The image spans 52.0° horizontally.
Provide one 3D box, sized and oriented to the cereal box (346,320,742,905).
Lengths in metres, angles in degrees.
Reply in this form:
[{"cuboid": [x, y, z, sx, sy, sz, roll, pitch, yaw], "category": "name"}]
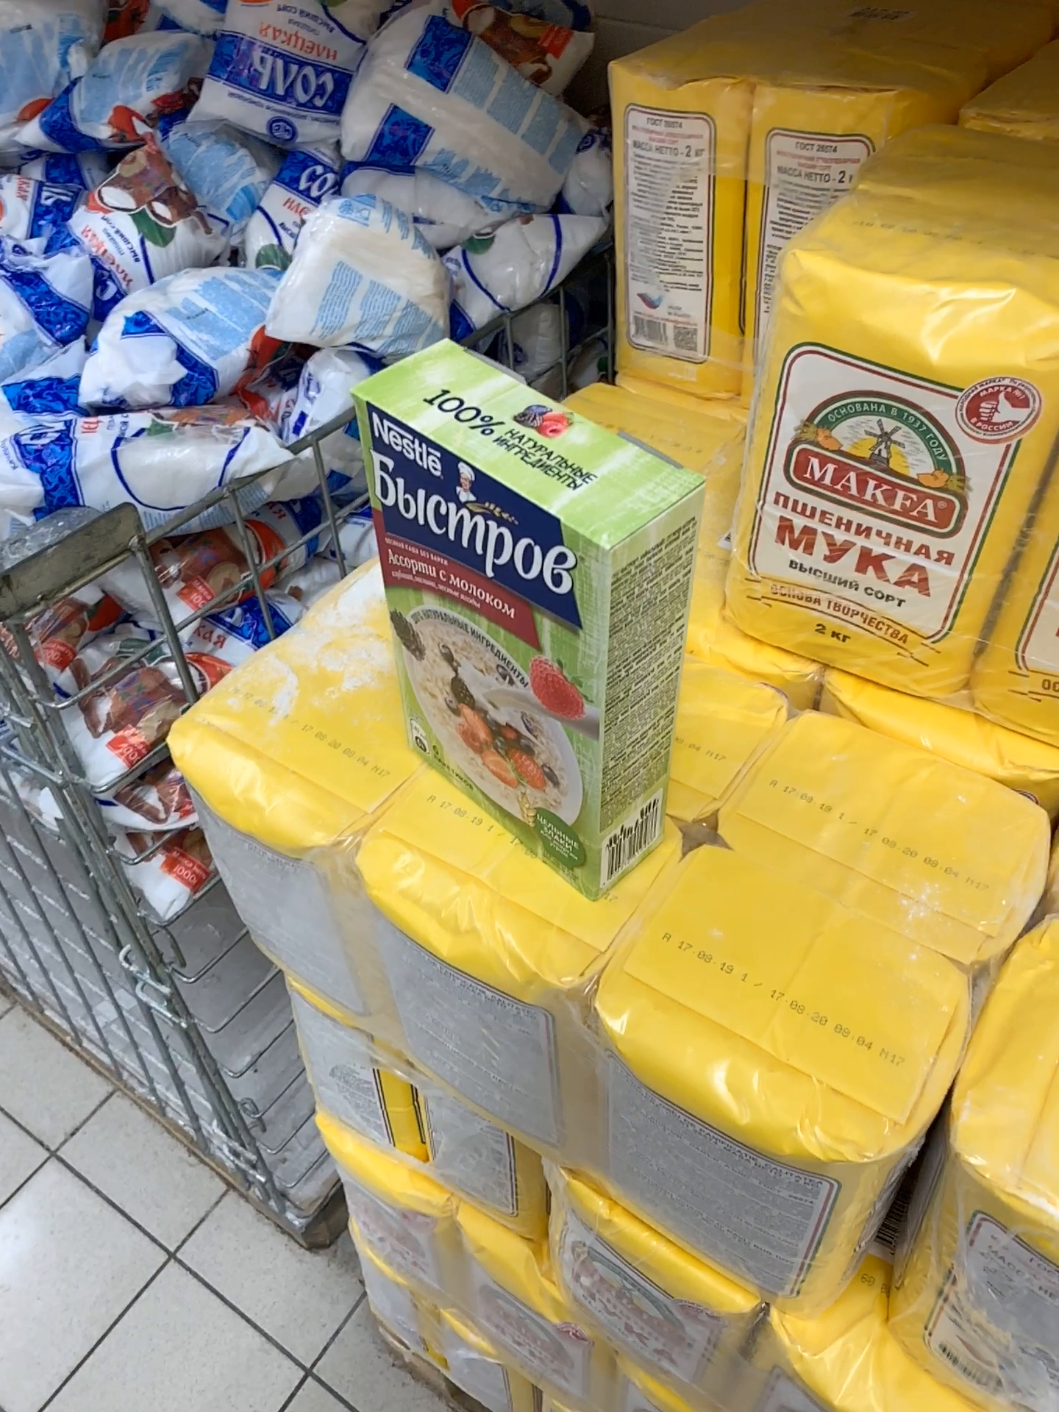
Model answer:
[{"cuboid": [0.005, -0.027, 0.394, 0.050, 0.178, 0.121, -37, 56, -25], "category": "cereal box"}]
